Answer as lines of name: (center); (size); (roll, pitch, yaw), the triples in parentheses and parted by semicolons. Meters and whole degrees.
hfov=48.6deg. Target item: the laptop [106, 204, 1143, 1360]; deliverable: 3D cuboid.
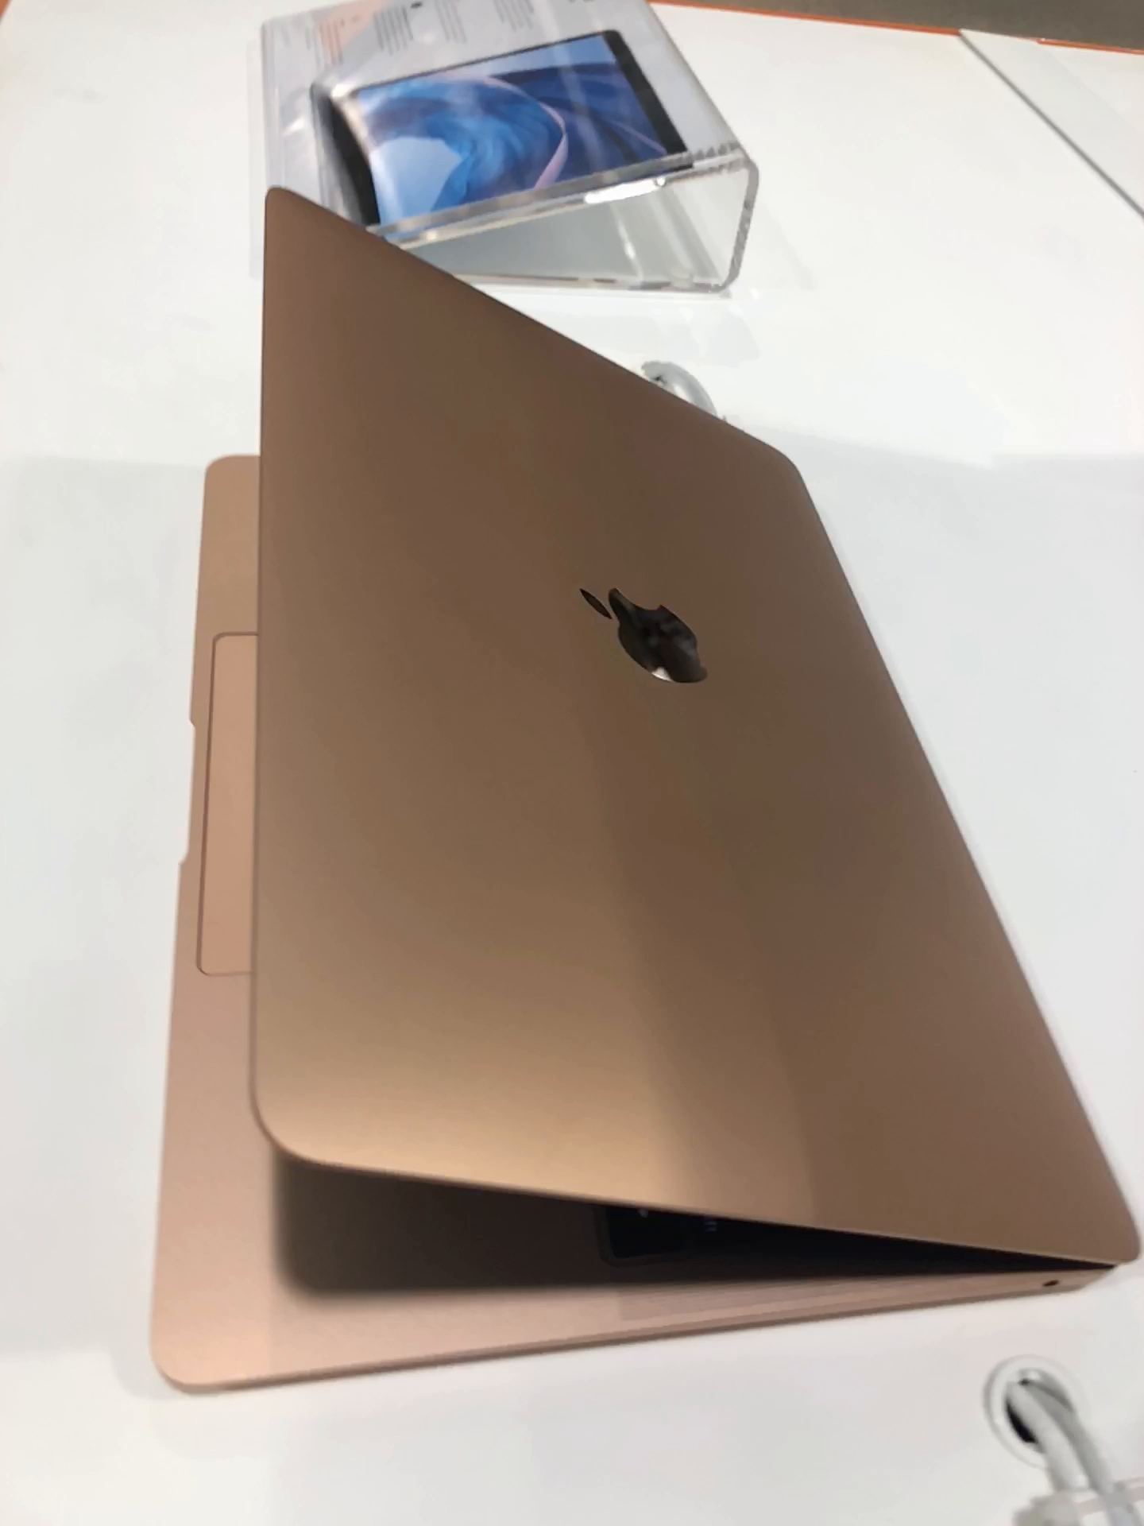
laptop: (0.010, -0.026, 0.324); (0.208, 0.091, 0.286); (-1, 48, -11)
